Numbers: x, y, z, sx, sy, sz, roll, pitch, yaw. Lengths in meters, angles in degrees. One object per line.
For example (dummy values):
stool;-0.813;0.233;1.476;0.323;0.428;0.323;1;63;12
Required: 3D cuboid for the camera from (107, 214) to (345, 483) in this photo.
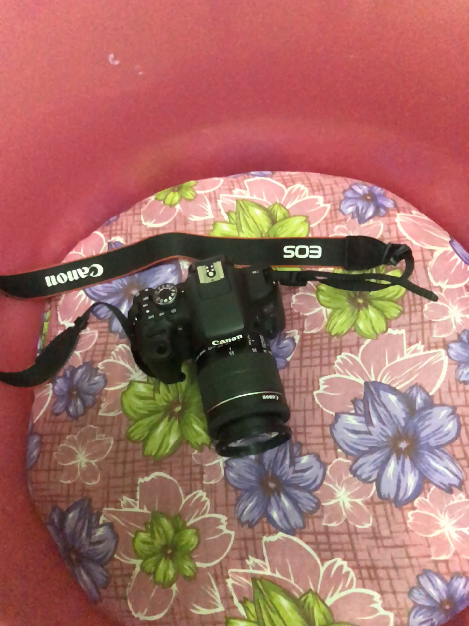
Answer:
camera;-0.008;0.031;0.410;0.140;0.100;0.160;-14;65;1
